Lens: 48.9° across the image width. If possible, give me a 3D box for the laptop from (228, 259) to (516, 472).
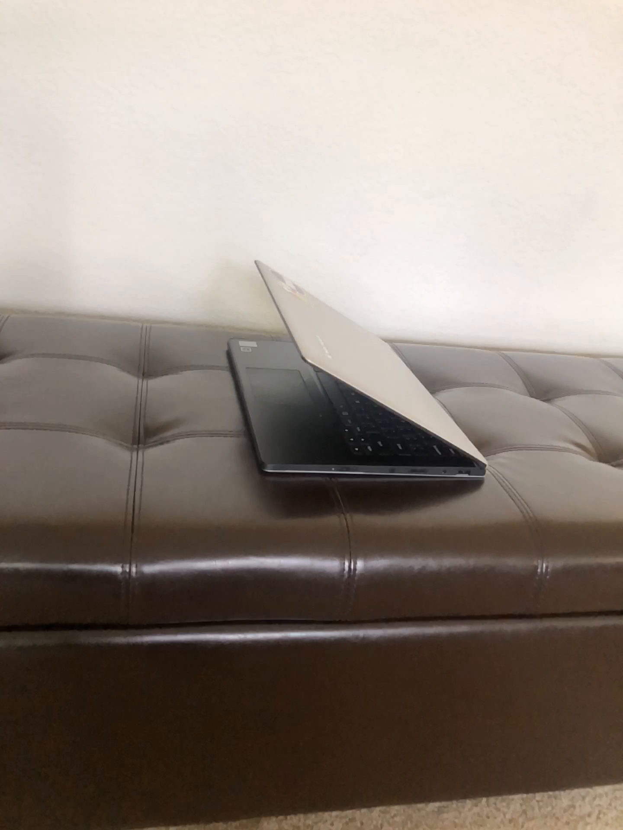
[{"bbox_3d":[0.035,-0.063,0.690,0.197,0.097,0.294,2,26,-14],"label":"laptop"}]
